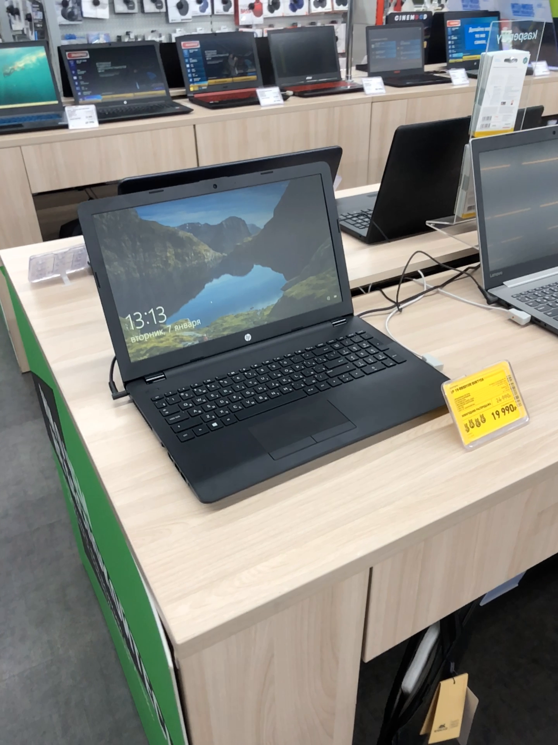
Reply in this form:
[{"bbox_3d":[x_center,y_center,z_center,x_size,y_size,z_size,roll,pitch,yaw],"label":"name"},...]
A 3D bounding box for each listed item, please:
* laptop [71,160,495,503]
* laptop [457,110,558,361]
[{"bbox_3d":[-0.008,-0.093,0.775,0.377,0.217,0.342,-18,37,-25],"label":"laptop"},{"bbox_3d":[0.558,-0.250,0.990,0.371,0.226,0.340,-17,36,-21],"label":"laptop"}]
